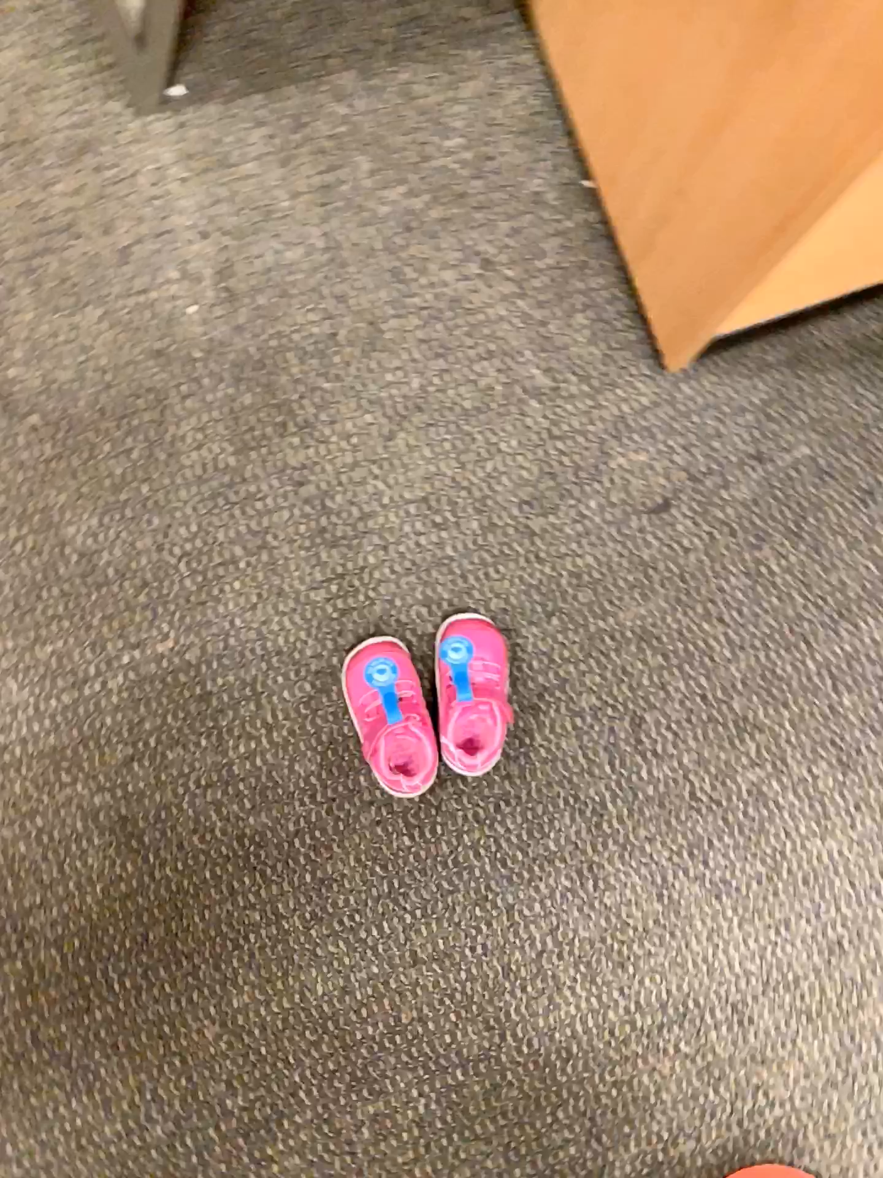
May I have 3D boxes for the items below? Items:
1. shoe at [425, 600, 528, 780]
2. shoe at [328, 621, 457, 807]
[{"bbox_3d":[0.028,0.084,0.763,0.070,0.040,0.140,-5,84,-4],"label":"shoe"},{"bbox_3d":[-0.042,0.105,0.778,0.070,0.040,0.140,-17,85,-5],"label":"shoe"}]
